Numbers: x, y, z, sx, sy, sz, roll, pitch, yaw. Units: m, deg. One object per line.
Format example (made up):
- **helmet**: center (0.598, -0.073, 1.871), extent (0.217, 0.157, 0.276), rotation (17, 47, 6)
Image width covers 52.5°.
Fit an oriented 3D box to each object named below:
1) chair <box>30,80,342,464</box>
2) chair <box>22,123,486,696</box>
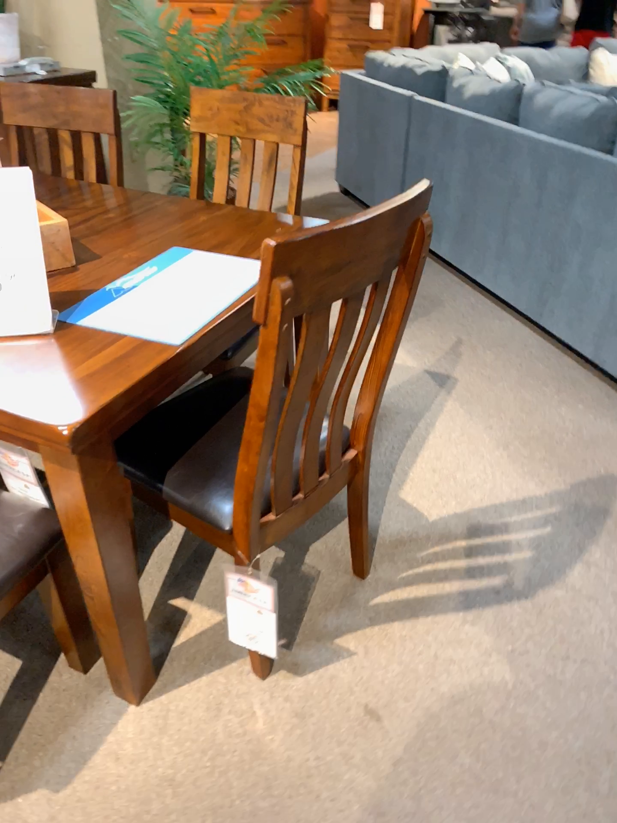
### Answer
- **chair**: center (-0.296, -0.426, 1.845), extent (0.591, 0.890, 0.531), rotation (15, 36, 19)
- **chair**: center (-0.090, -0.033, 1.273), extent (0.540, 0.890, 0.533), rotation (27, 42, 32)
